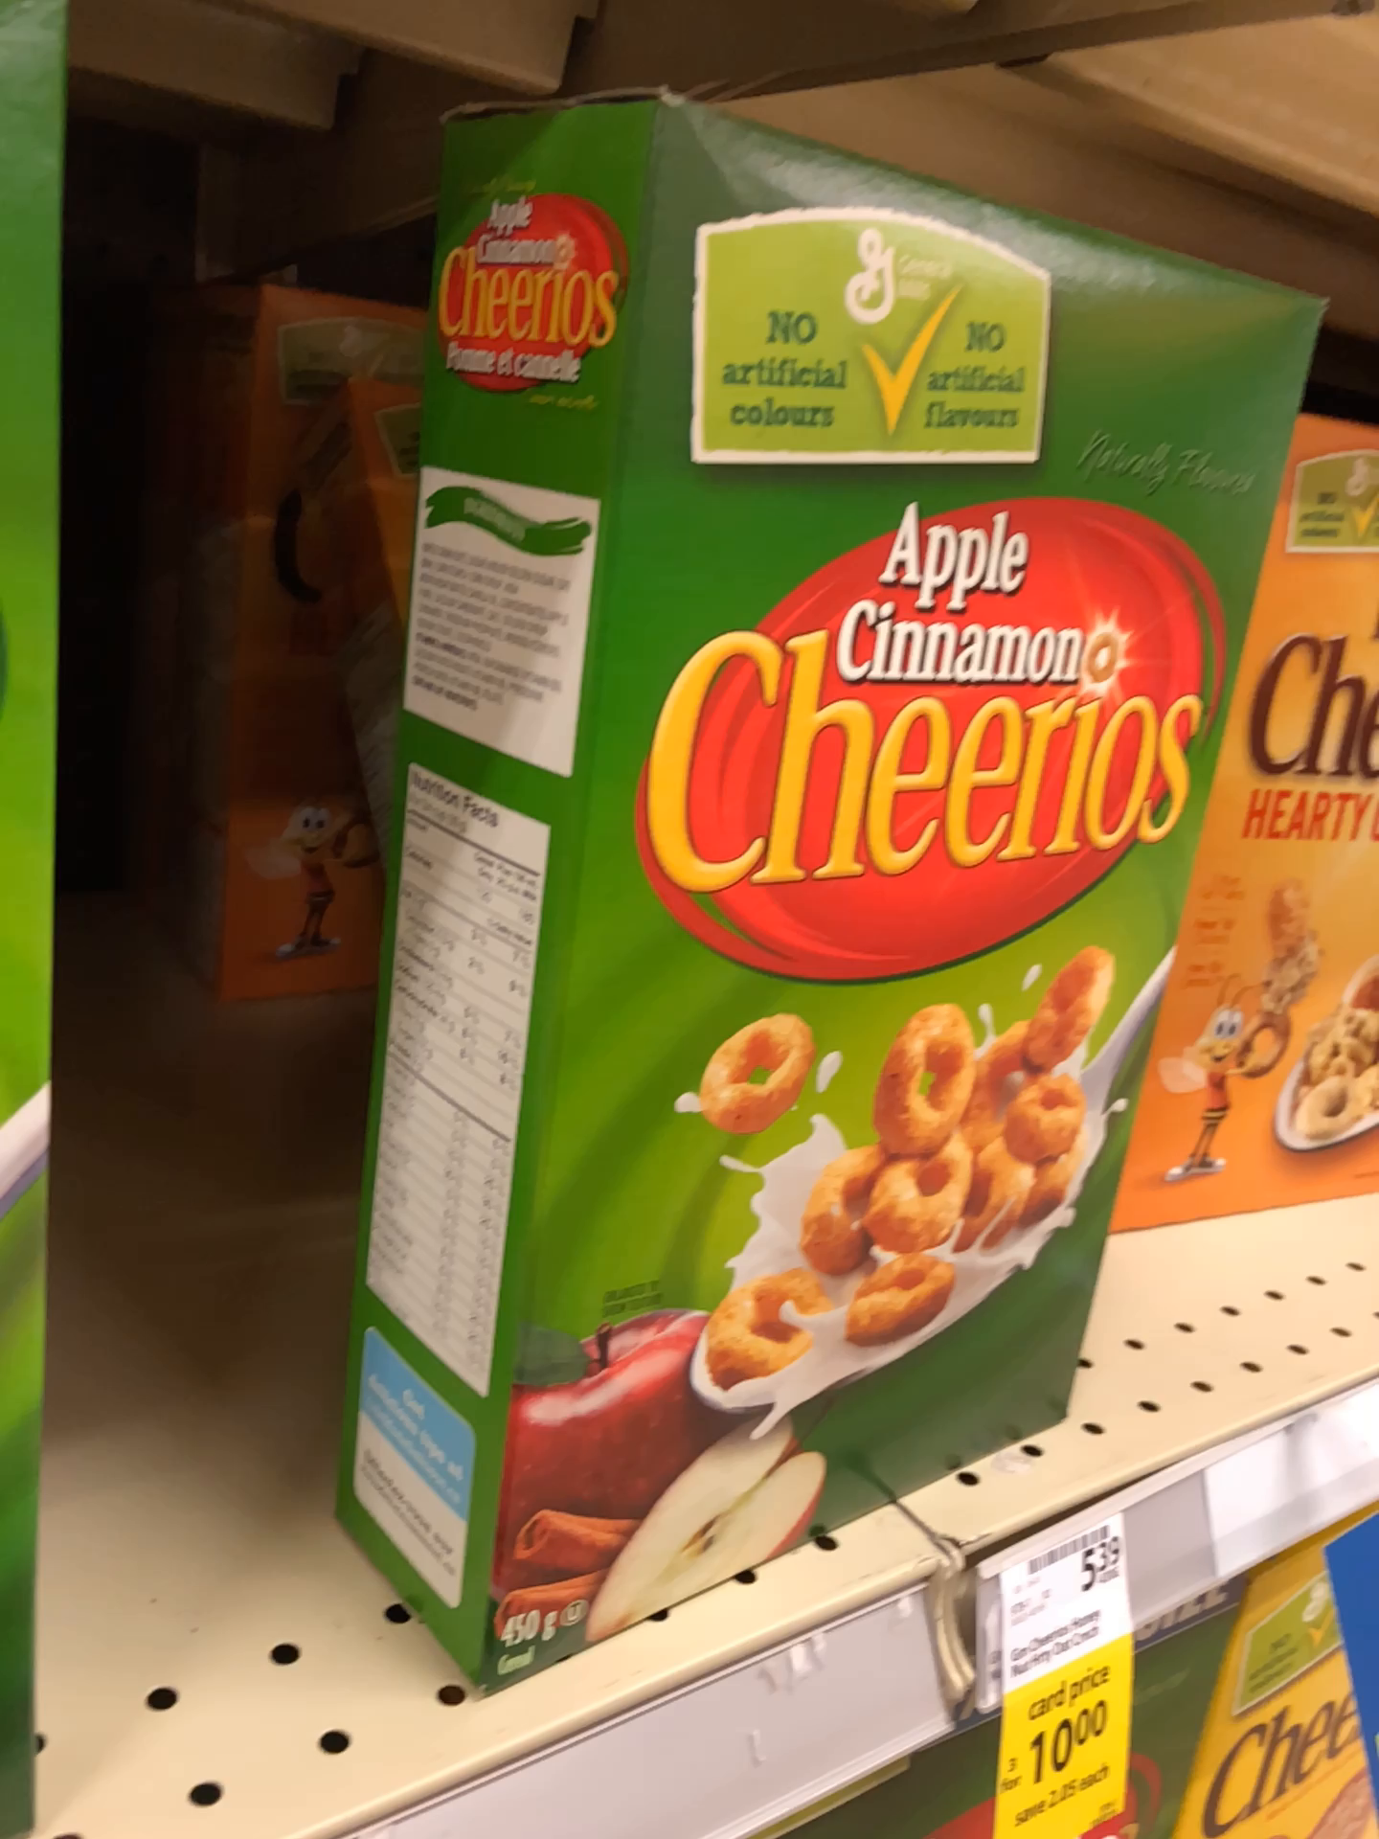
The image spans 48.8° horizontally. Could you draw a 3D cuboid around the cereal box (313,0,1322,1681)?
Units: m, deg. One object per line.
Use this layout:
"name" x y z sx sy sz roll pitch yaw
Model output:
"cereal box" 0.029 -0.011 0.358 0.200 0.309 0.070 -6 20 -40
